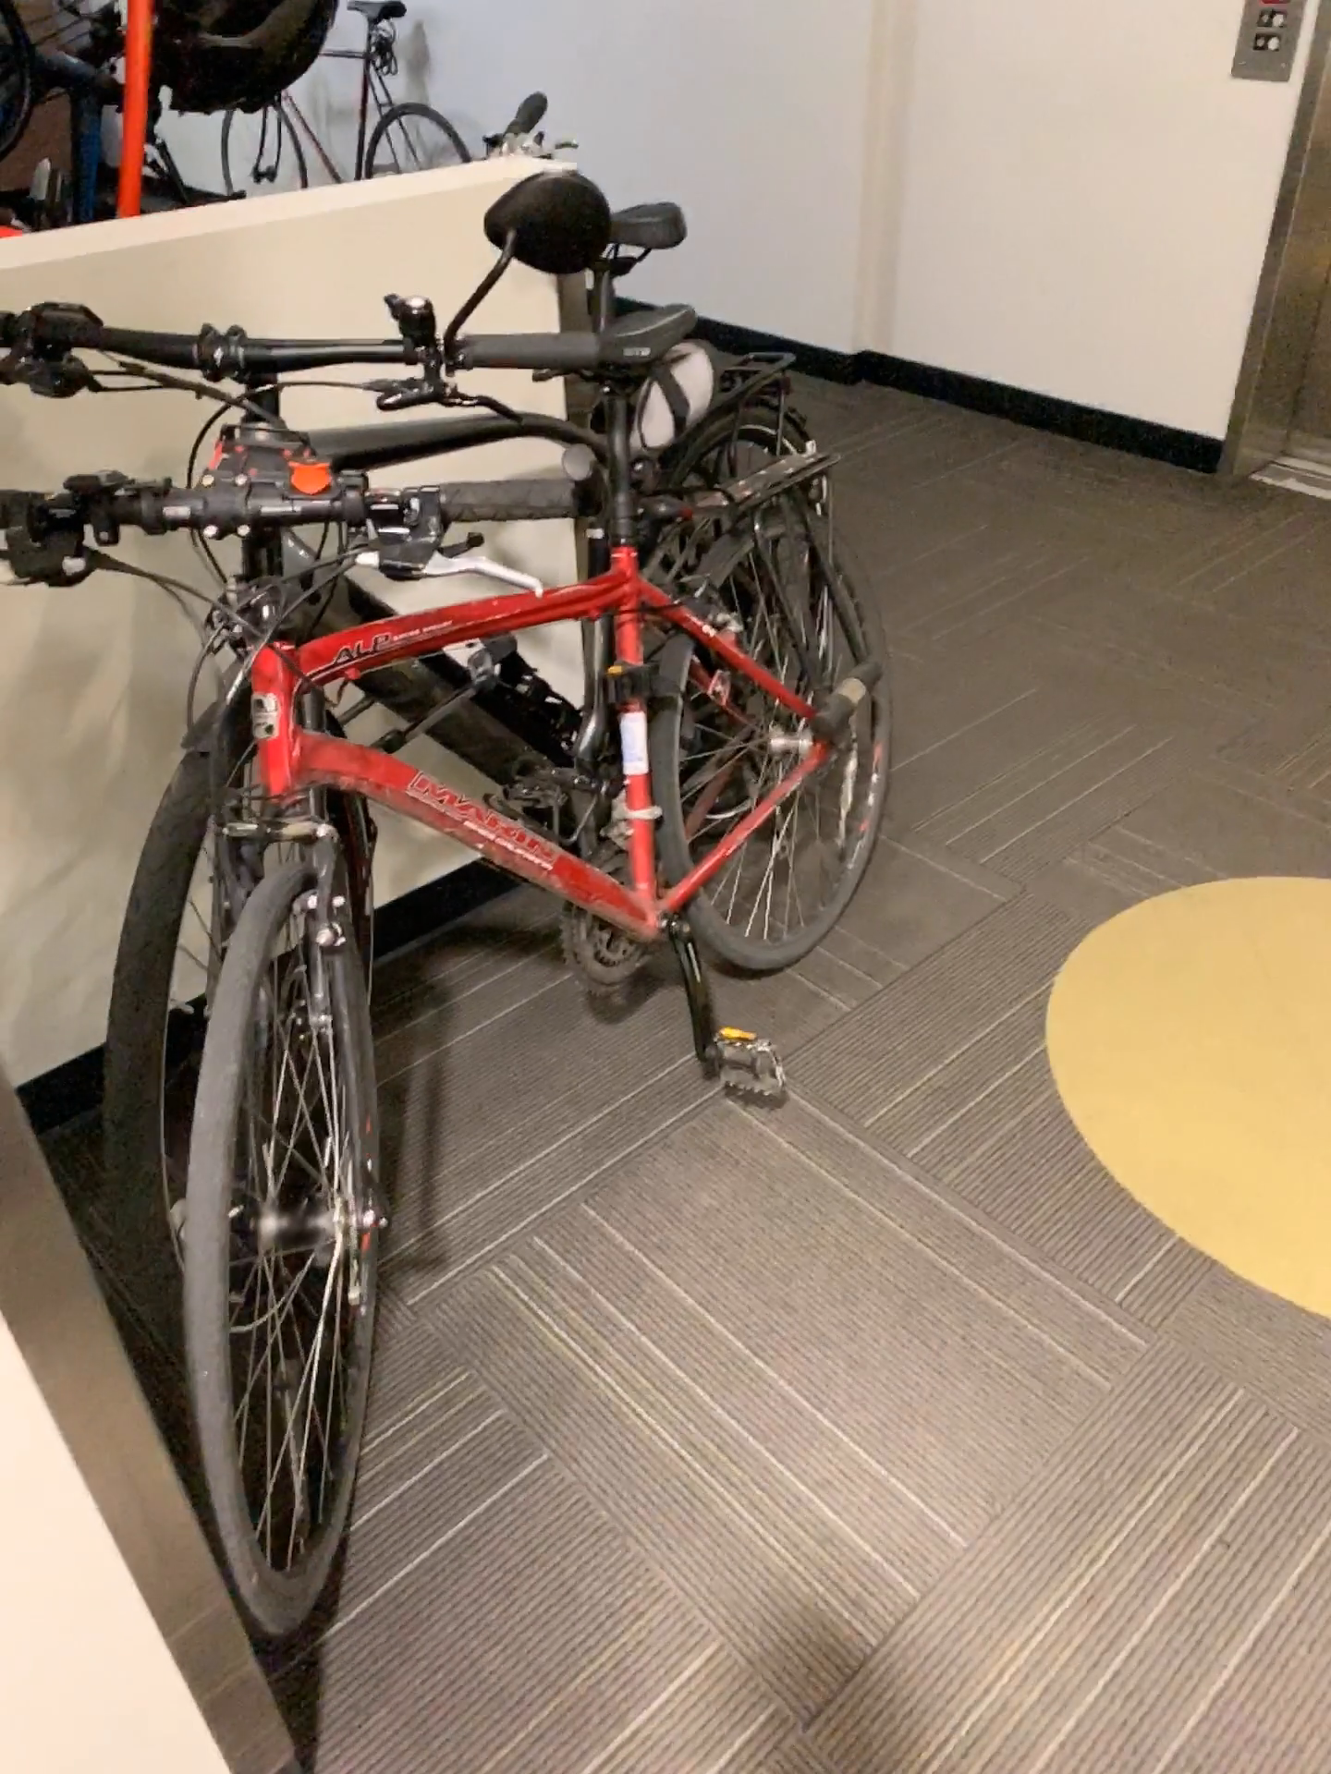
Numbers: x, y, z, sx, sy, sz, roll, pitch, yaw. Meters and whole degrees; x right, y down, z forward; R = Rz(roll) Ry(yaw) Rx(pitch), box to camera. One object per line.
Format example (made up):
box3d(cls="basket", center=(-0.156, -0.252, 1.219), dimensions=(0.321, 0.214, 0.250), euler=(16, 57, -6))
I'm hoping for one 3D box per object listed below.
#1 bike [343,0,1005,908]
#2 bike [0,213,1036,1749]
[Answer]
box3d(cls="bike", center=(0.070, -0.628, 2.146), dimensions=(0.693, 1.149, 0.728), euler=(15, 34, 21))
box3d(cls="bike", center=(-0.081, -0.171, 1.550), dimensions=(0.604, 0.927, 1.617), euler=(14, 35, 20))
